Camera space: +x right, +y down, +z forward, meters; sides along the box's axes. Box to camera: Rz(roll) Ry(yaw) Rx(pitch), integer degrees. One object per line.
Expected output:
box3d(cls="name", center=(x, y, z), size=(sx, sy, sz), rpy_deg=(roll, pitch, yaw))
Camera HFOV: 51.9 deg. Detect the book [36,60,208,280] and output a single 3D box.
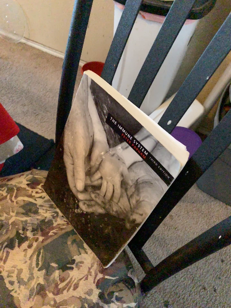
box3d(cls="book", center=(-0.029, 0.033, 0.377), size=(0.040, 0.269, 0.220), rpy_deg=(-17, 53, -46))
